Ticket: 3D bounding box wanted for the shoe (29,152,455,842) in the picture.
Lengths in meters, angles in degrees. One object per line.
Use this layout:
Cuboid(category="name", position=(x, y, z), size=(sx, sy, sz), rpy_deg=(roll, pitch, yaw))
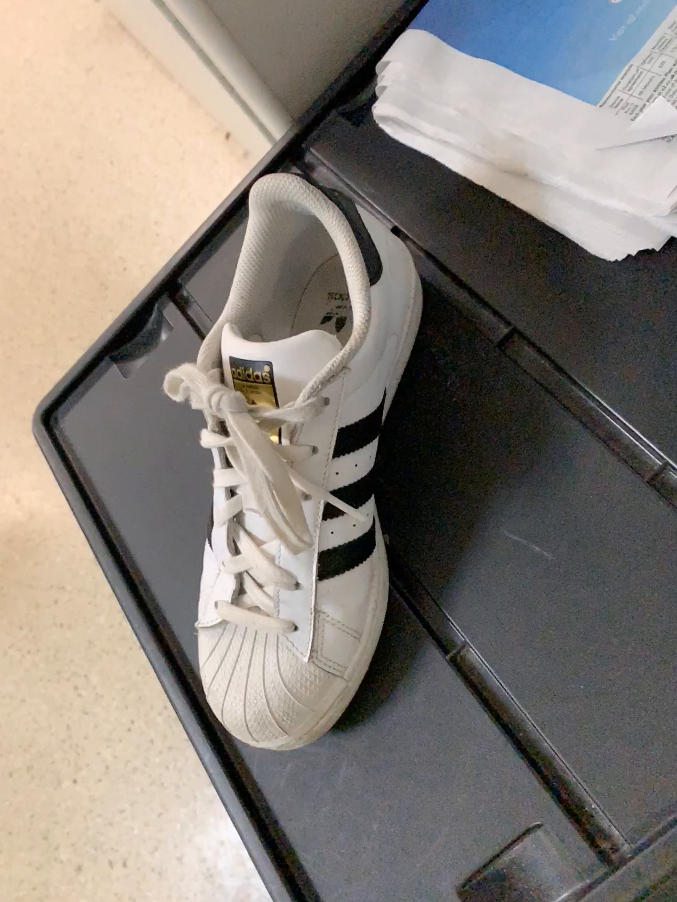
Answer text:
Cuboid(category="shoe", position=(-0.035, 0.011, 0.306), size=(0.104, 0.092, 0.242), rpy_deg=(10, 86, 29))
